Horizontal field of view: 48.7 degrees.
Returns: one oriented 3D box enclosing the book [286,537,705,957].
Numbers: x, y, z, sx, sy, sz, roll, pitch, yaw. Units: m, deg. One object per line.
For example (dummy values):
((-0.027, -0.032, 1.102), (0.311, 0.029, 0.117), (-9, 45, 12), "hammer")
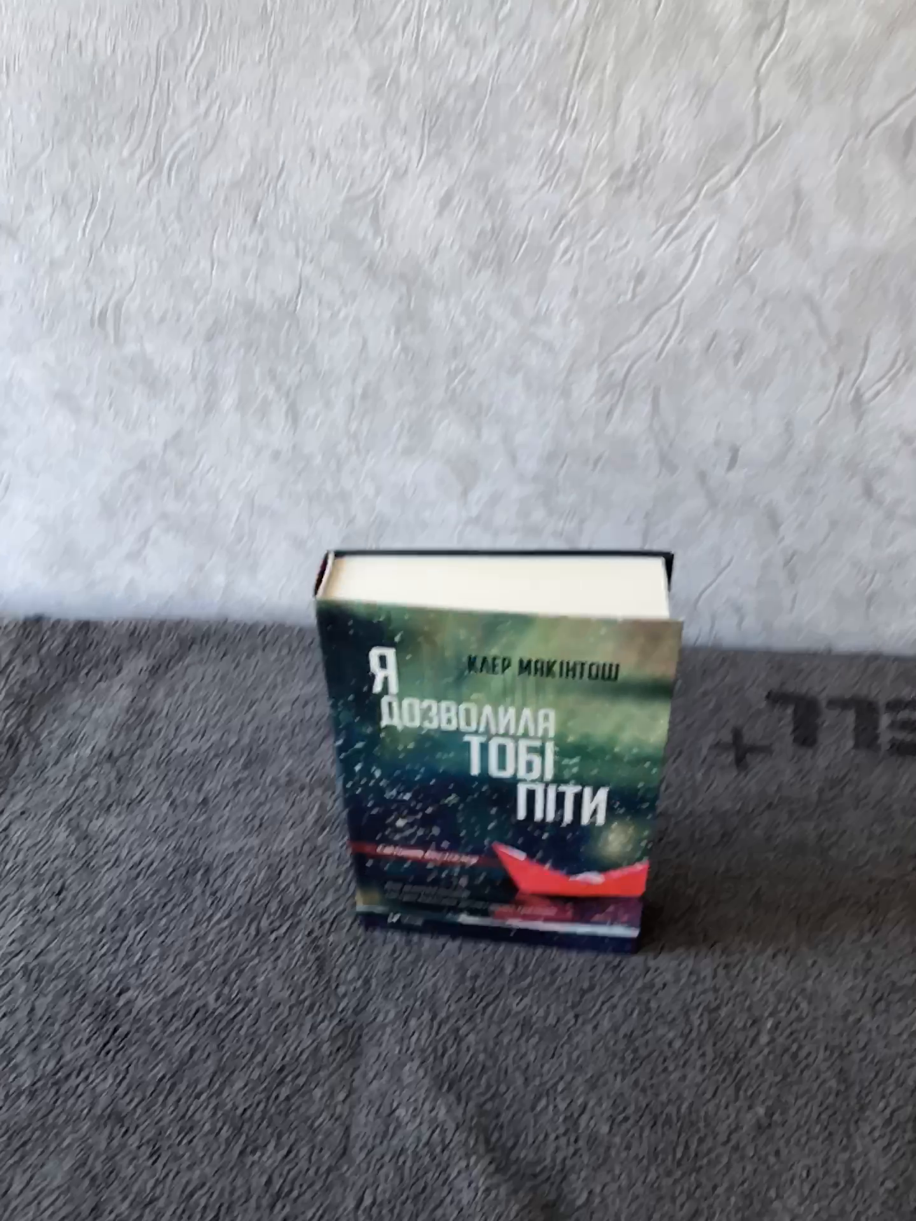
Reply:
((0.017, 0.065, 0.417), (0.139, 0.201, 0.045), (0, 40, 4), "book")
